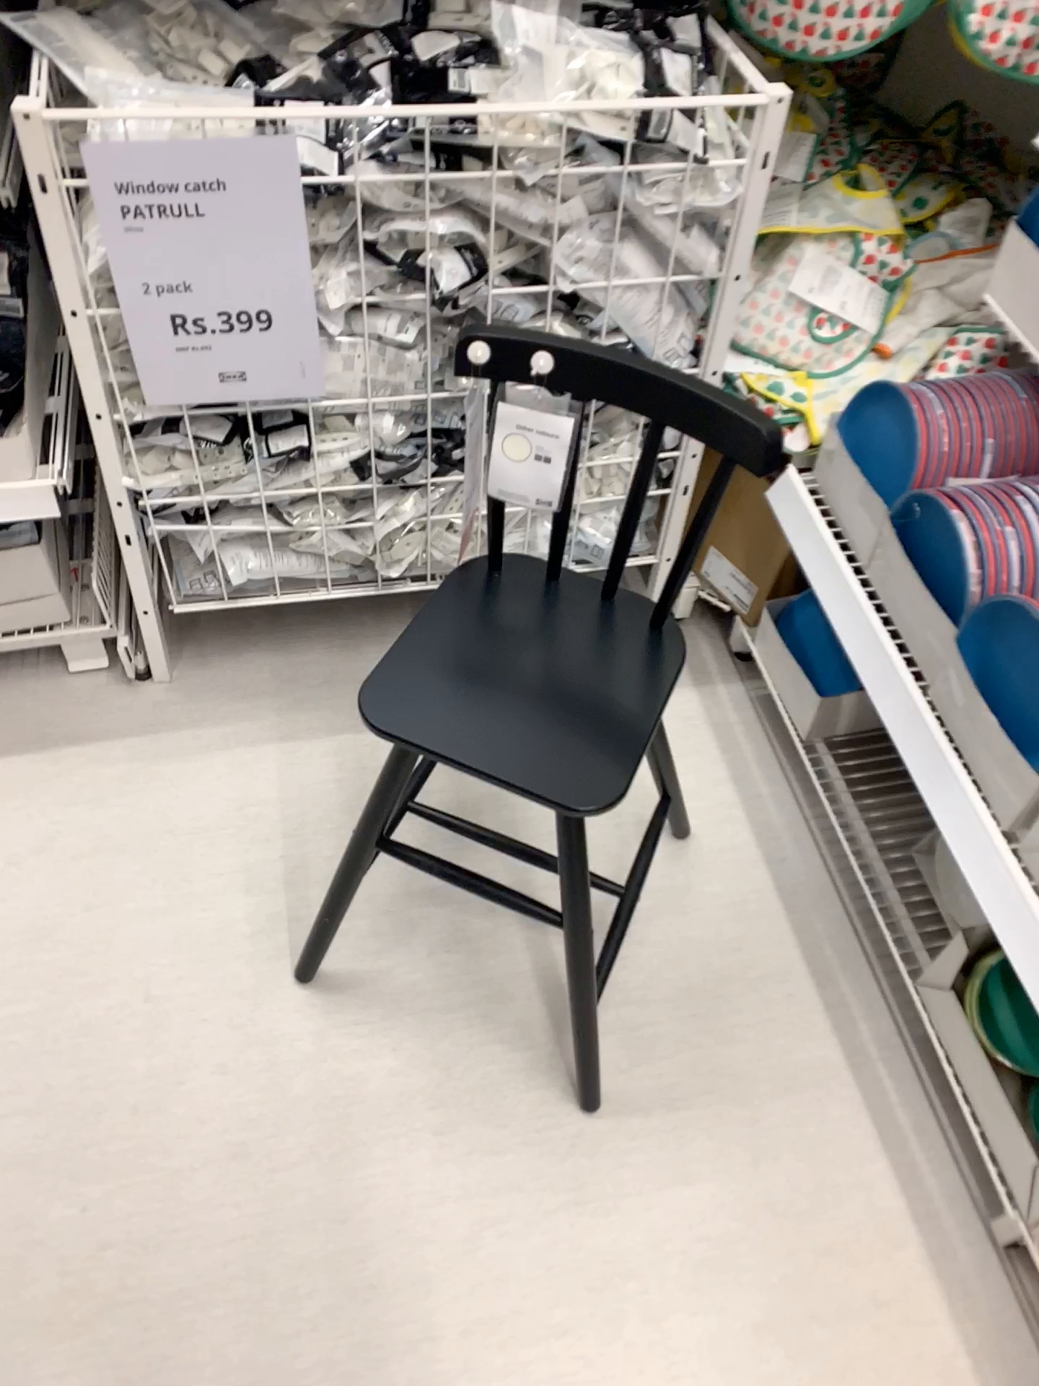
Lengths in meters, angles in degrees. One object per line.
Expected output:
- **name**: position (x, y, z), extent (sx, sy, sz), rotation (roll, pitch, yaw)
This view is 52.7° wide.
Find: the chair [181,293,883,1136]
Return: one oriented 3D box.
- **chair**: position (0.018, 0.056, 1.120), extent (0.420, 0.688, 0.461), rotation (22, 53, 13)
